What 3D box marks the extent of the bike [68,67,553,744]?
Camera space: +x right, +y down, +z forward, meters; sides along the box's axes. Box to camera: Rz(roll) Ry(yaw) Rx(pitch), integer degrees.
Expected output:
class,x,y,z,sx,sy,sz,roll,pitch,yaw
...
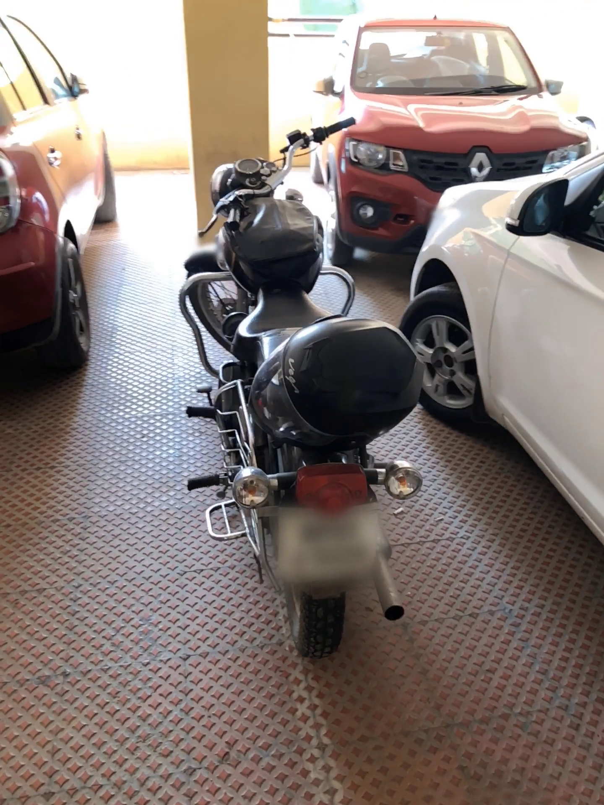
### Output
class,x,y,z,sx,sy,sz,roll,pitch,yaw
bike,-0.223,-0.213,2.040,0.692,1.217,1.793,-8,35,-15
